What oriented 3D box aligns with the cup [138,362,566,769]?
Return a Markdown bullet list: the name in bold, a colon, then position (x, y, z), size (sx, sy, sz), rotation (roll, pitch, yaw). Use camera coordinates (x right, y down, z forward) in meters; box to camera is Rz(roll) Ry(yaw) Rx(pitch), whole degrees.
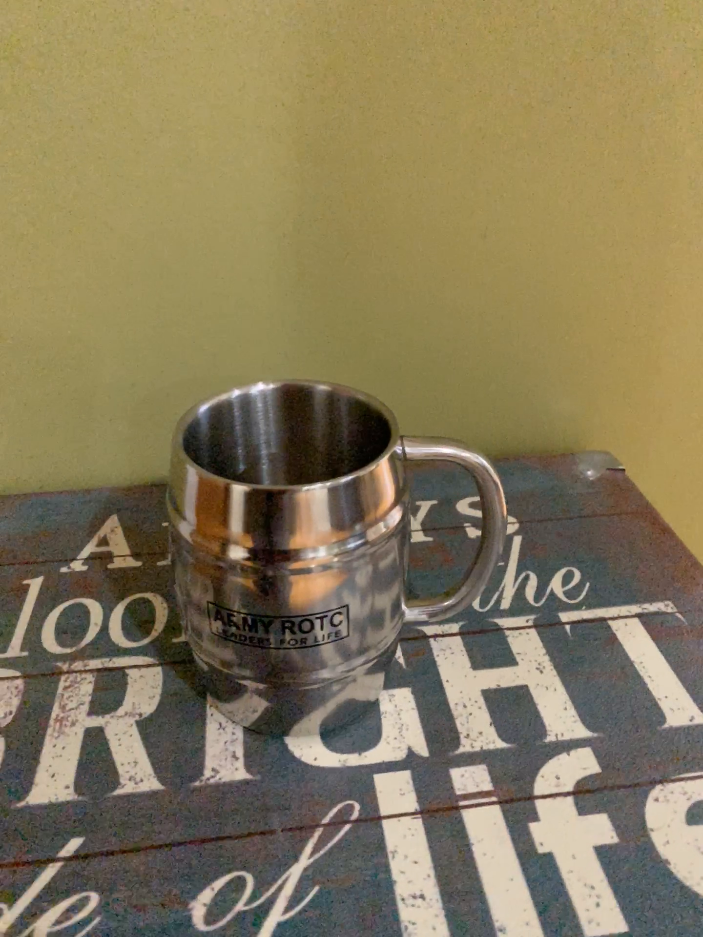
- **cup**: position (-0.004, 0.033, 0.283), size (0.129, 0.113, 0.089), rotation (-5, 32, -7)
